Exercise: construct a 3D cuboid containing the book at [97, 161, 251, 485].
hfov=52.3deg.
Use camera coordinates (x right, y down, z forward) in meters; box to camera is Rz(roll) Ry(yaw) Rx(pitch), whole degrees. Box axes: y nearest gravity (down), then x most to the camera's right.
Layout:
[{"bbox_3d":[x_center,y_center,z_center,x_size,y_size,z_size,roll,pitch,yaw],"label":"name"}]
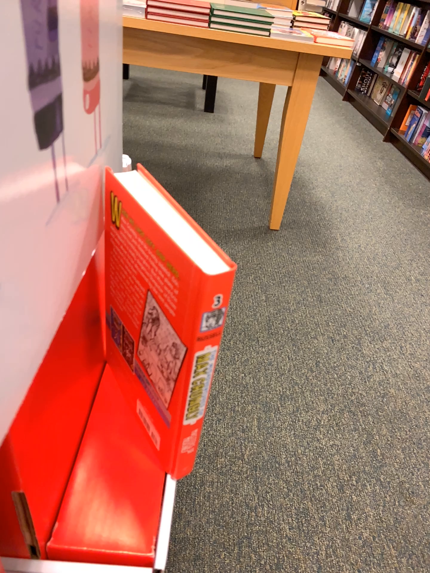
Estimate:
[{"bbox_3d":[-0.048,0.029,0.334,0.031,0.201,0.142,-15,42,-32],"label":"book"}]
